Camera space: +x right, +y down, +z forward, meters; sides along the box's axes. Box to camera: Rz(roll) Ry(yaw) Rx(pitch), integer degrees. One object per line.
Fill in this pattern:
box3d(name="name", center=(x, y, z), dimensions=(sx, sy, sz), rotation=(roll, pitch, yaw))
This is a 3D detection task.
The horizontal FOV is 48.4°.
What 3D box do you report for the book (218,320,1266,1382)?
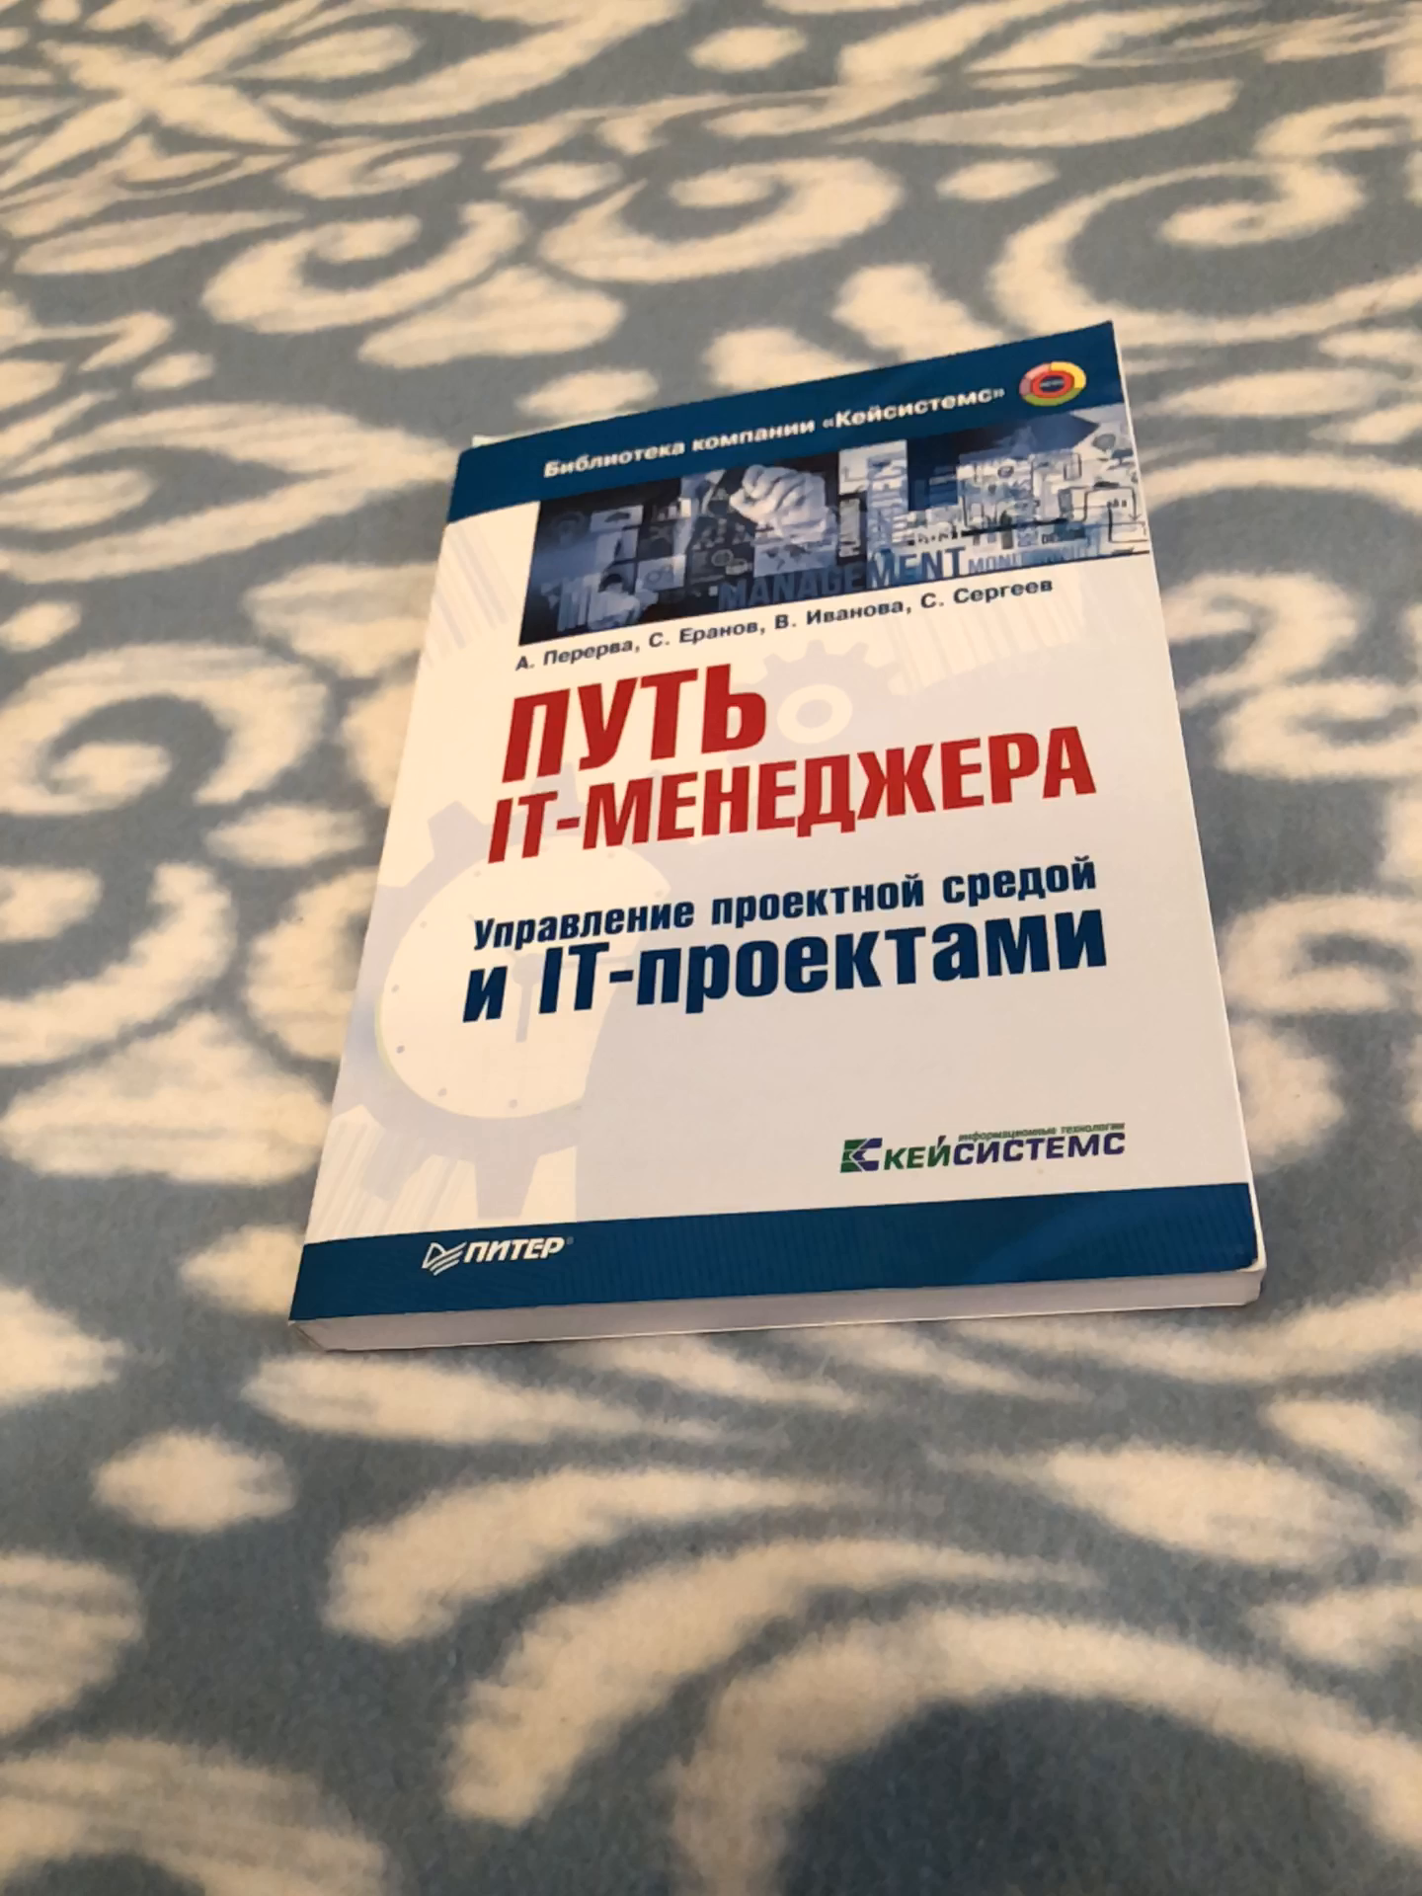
box3d(name="book", center=(0.005, -0.031, 0.322), dimensions=(0.173, 0.019, 0.228), rotation=(-6, 56, 14))
